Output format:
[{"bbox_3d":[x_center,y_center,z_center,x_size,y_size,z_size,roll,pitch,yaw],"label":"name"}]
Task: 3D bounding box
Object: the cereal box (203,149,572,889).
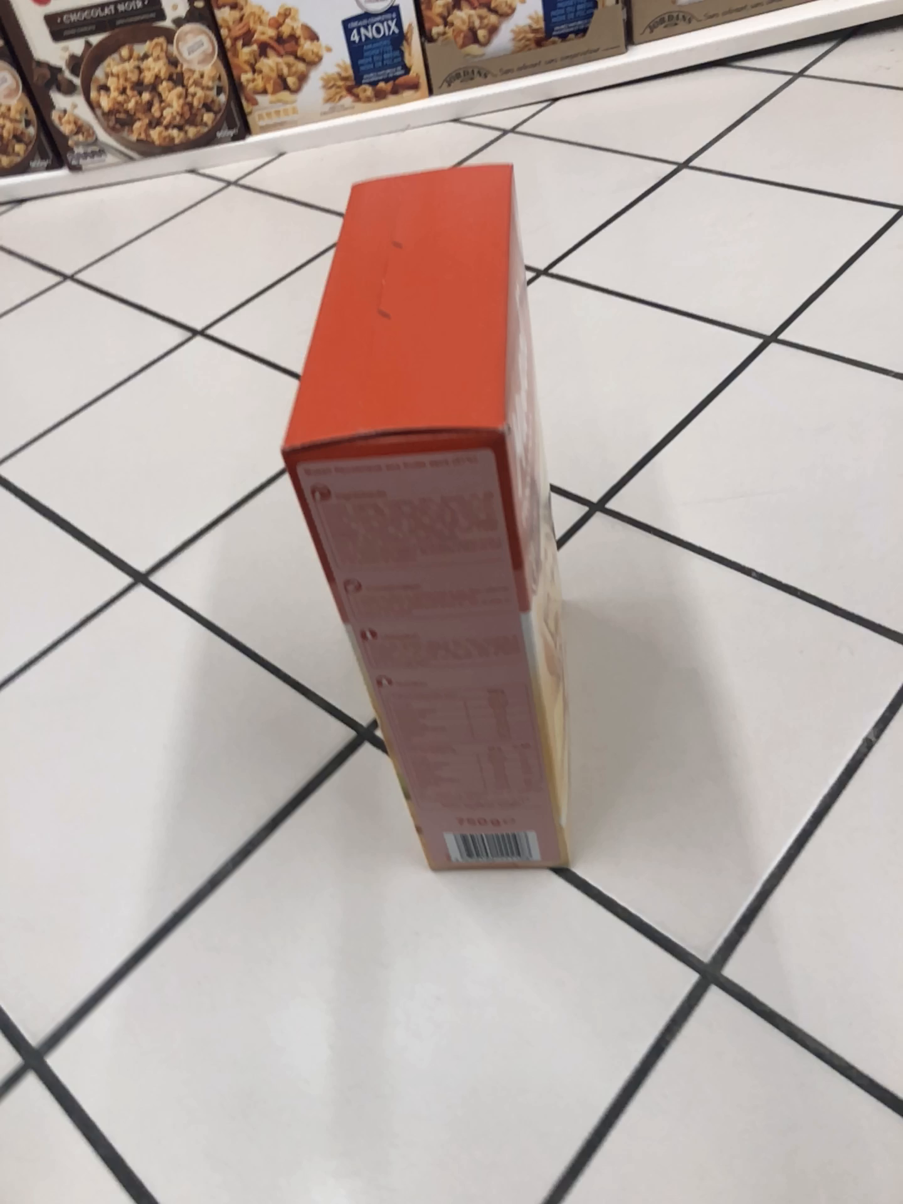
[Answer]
[{"bbox_3d":[-0.003,-0.021,0.400,0.080,0.239,0.171,-4,46,9],"label":"cereal box"}]
